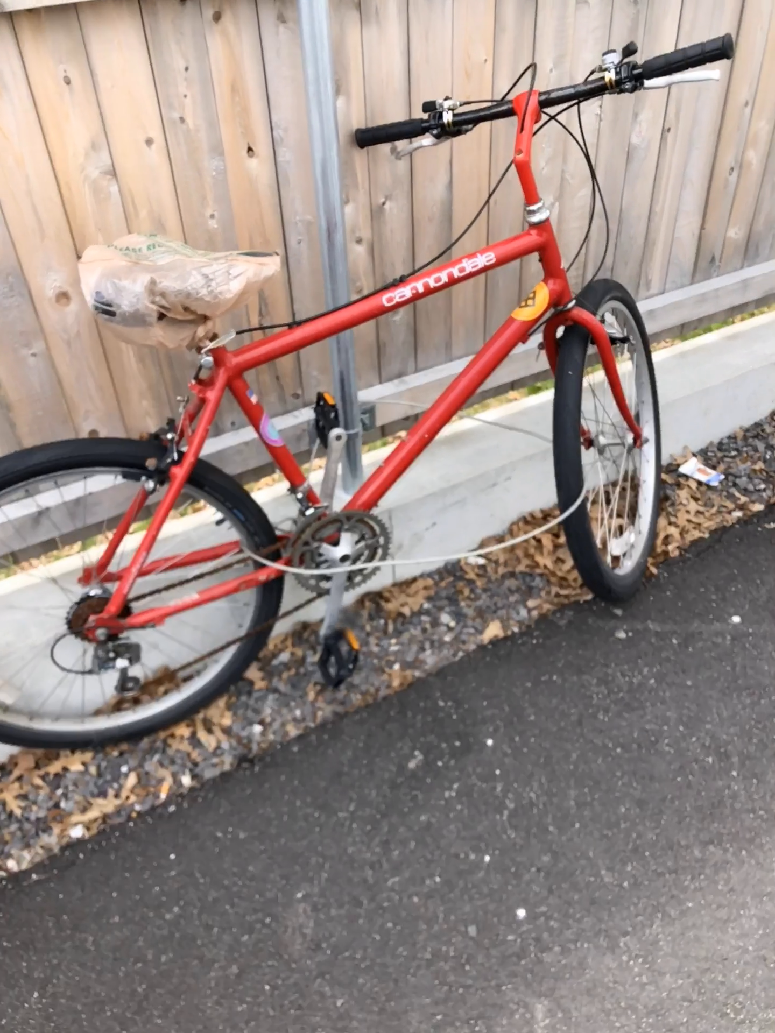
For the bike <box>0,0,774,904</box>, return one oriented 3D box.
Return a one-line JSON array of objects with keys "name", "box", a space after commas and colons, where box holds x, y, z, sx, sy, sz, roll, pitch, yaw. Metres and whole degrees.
[{"name": "bike", "box": [-0.138, -0.265, 1.487, 1.477, 1.001, 0.595, -23, 41, -20]}]
